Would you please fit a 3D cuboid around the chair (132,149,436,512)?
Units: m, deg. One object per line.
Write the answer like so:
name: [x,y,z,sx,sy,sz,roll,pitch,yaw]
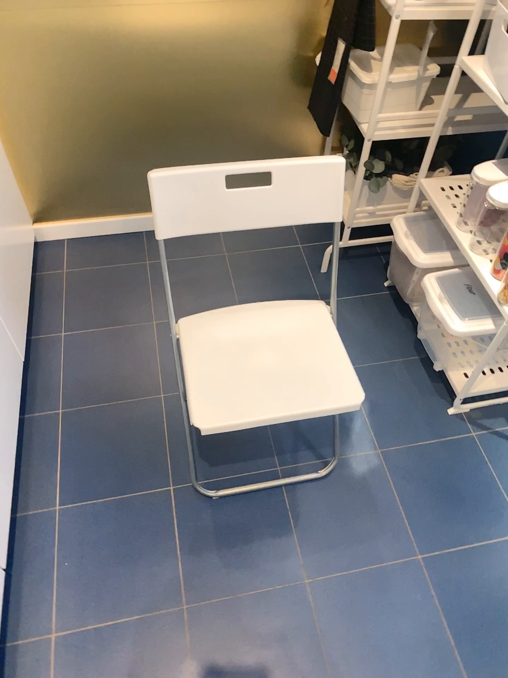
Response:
chair: [0.012,0.017,1.216,0.460,0.708,0.451,-8,52,-9]
